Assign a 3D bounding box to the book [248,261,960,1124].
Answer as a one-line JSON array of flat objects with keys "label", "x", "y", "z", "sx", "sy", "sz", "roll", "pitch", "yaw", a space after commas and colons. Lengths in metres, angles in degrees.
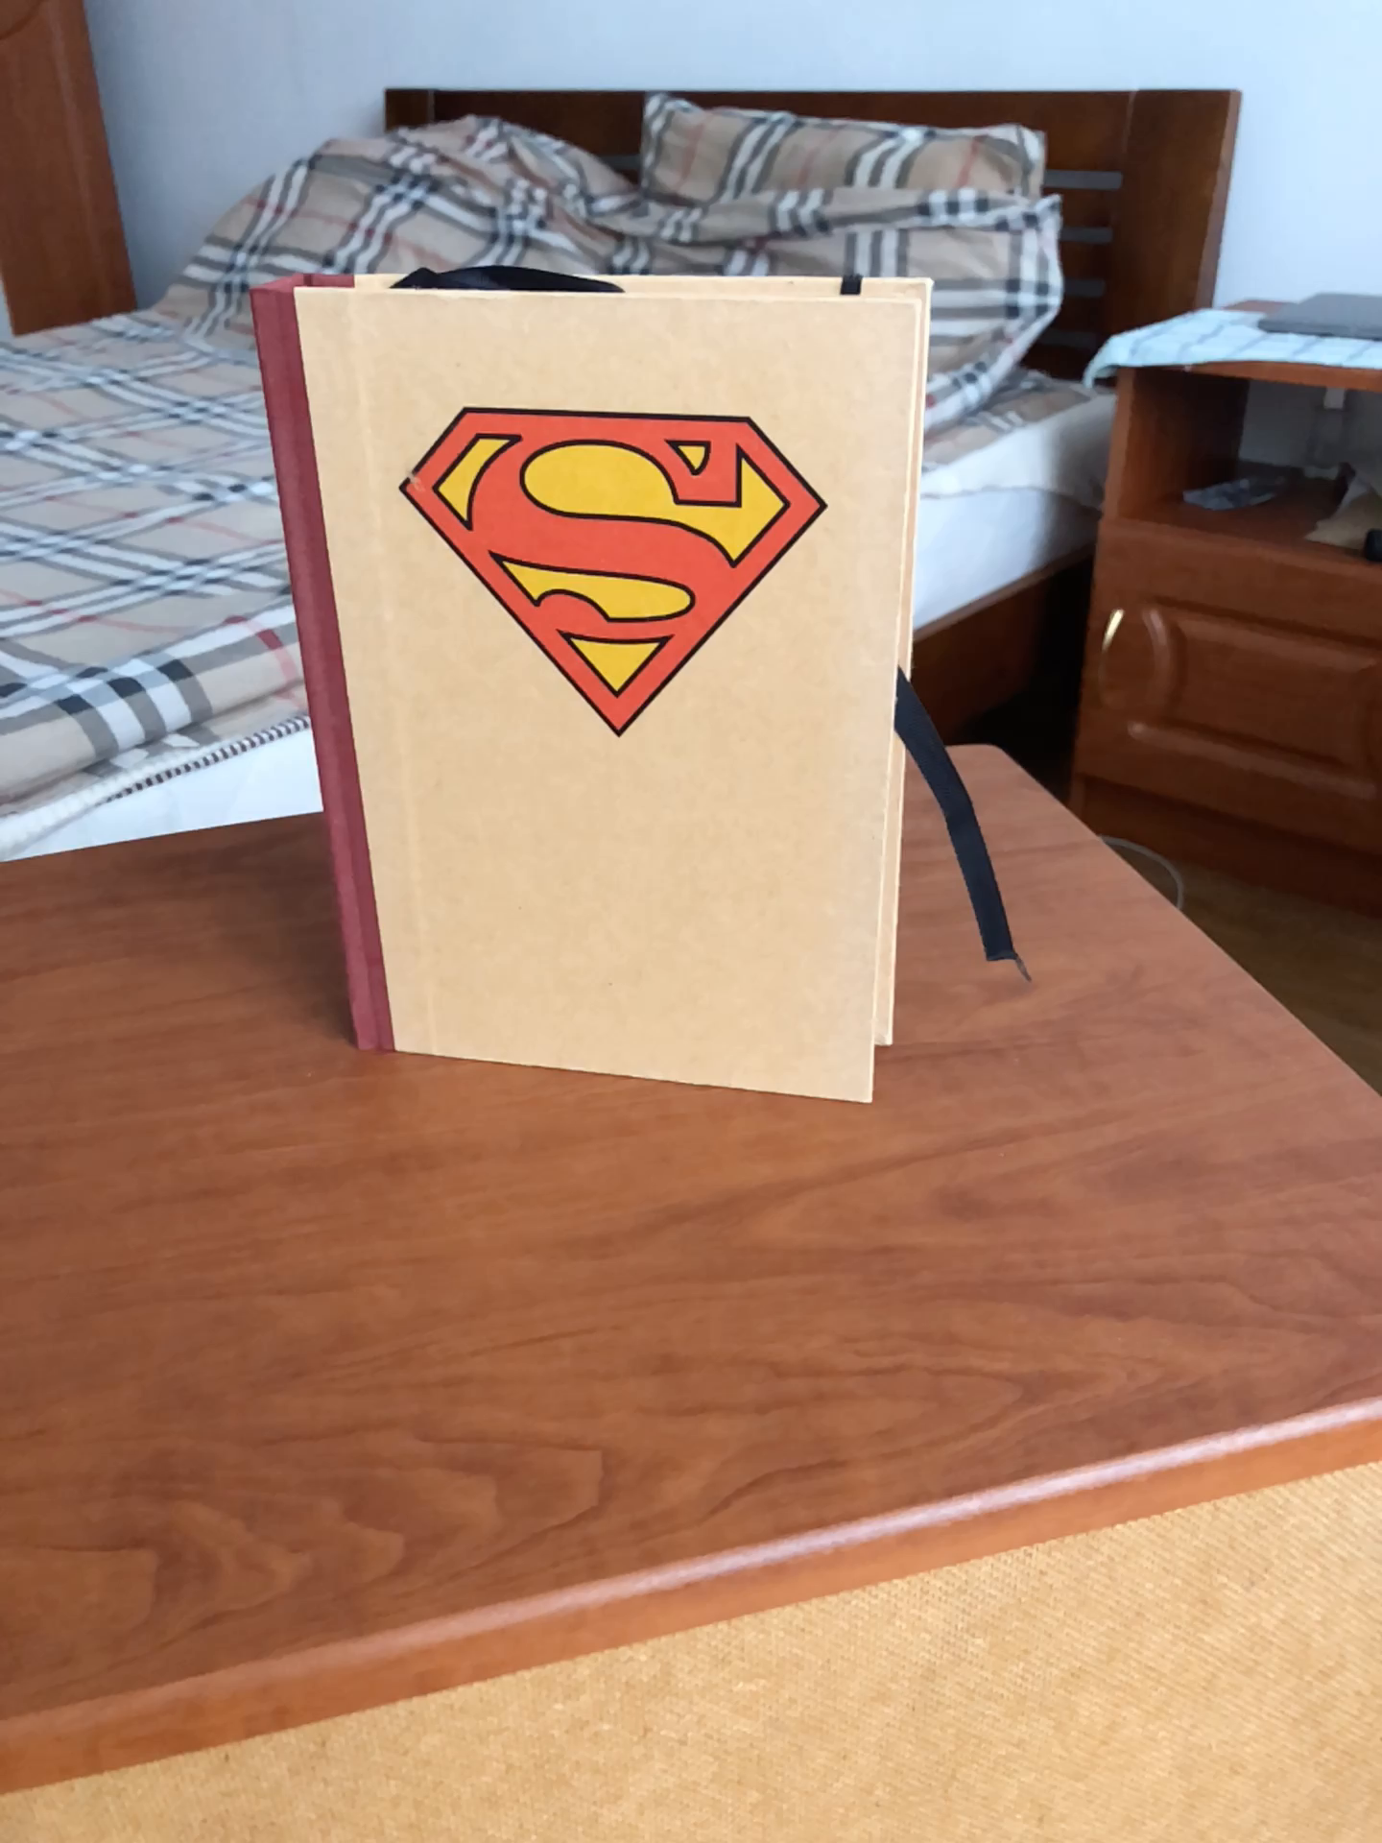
[{"label": "book", "x": -0.017, "y": -0.051, "z": 0.388, "sx": 0.154, "sy": 0.212, "sz": 0.032, "roll": 5, "pitch": 30, "yaw": 10}]
